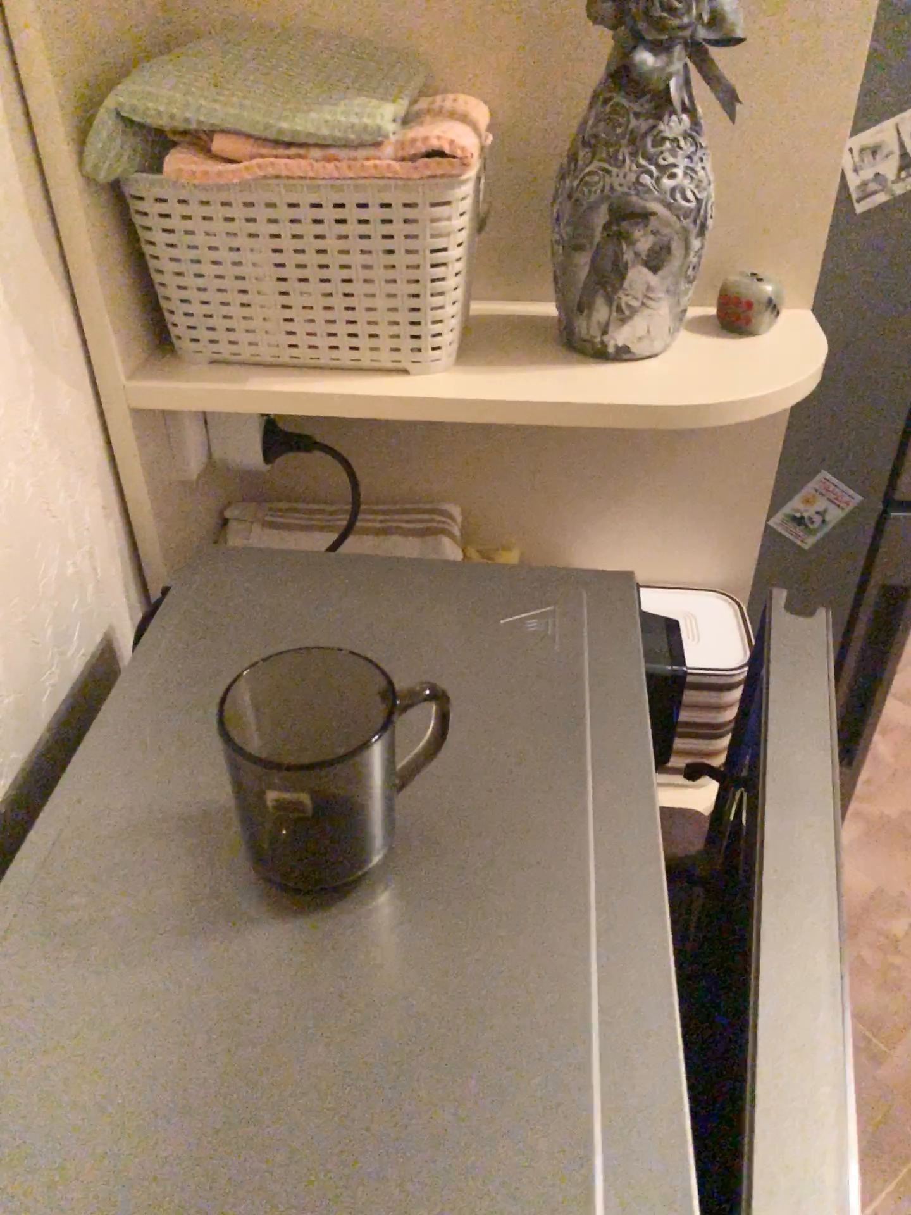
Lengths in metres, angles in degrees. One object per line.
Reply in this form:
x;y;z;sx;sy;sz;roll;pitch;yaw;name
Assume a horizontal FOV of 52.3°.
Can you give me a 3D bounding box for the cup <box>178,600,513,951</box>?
-0.045;0.067;0.398;0.110;0.079;0.081;-22;42;-26;cup
